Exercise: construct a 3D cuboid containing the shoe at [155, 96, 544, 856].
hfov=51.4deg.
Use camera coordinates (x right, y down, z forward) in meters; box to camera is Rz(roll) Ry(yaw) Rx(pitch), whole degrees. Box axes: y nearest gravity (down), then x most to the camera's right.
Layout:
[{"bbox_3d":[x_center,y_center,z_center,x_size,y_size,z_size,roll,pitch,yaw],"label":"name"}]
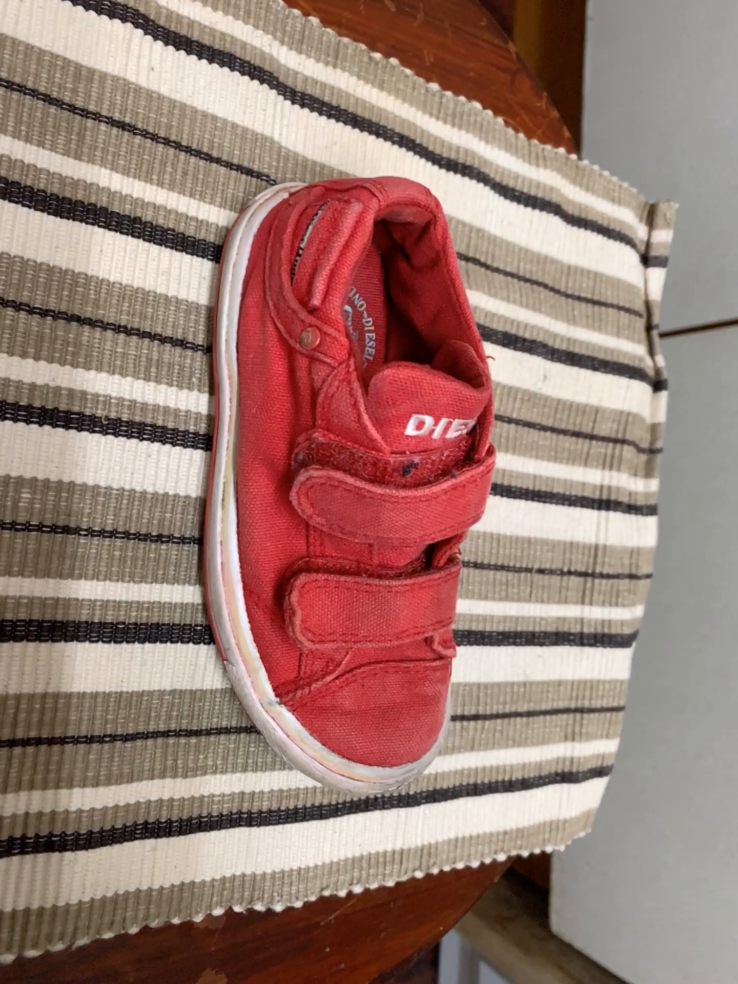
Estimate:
[{"bbox_3d":[-0.007,-0.005,0.222,0.080,0.070,0.170,-5,94,-32],"label":"shoe"}]
